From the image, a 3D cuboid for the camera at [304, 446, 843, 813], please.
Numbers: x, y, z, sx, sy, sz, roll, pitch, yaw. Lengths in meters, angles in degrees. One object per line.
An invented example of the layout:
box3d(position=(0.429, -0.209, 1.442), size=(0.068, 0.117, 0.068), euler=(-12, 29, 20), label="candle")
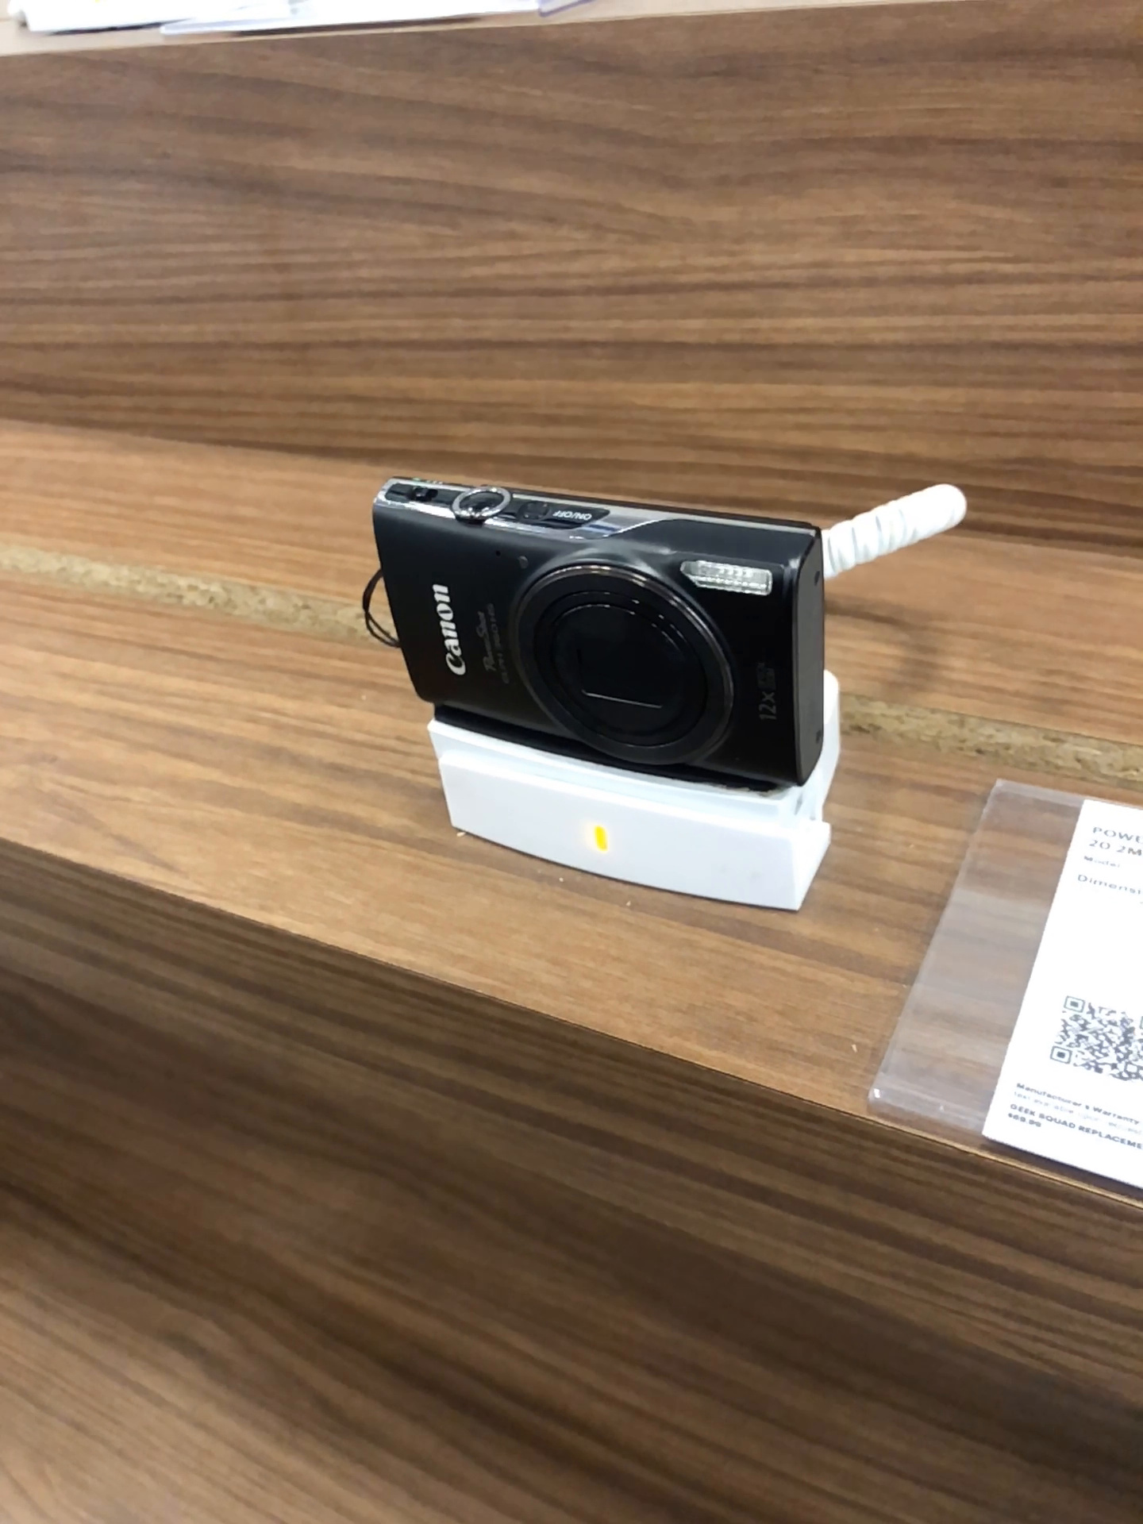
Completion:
box3d(position=(0.001, -0.030, 0.273), size=(0.110, 0.060, 0.020), euler=(13, 44, 24), label="camera")
